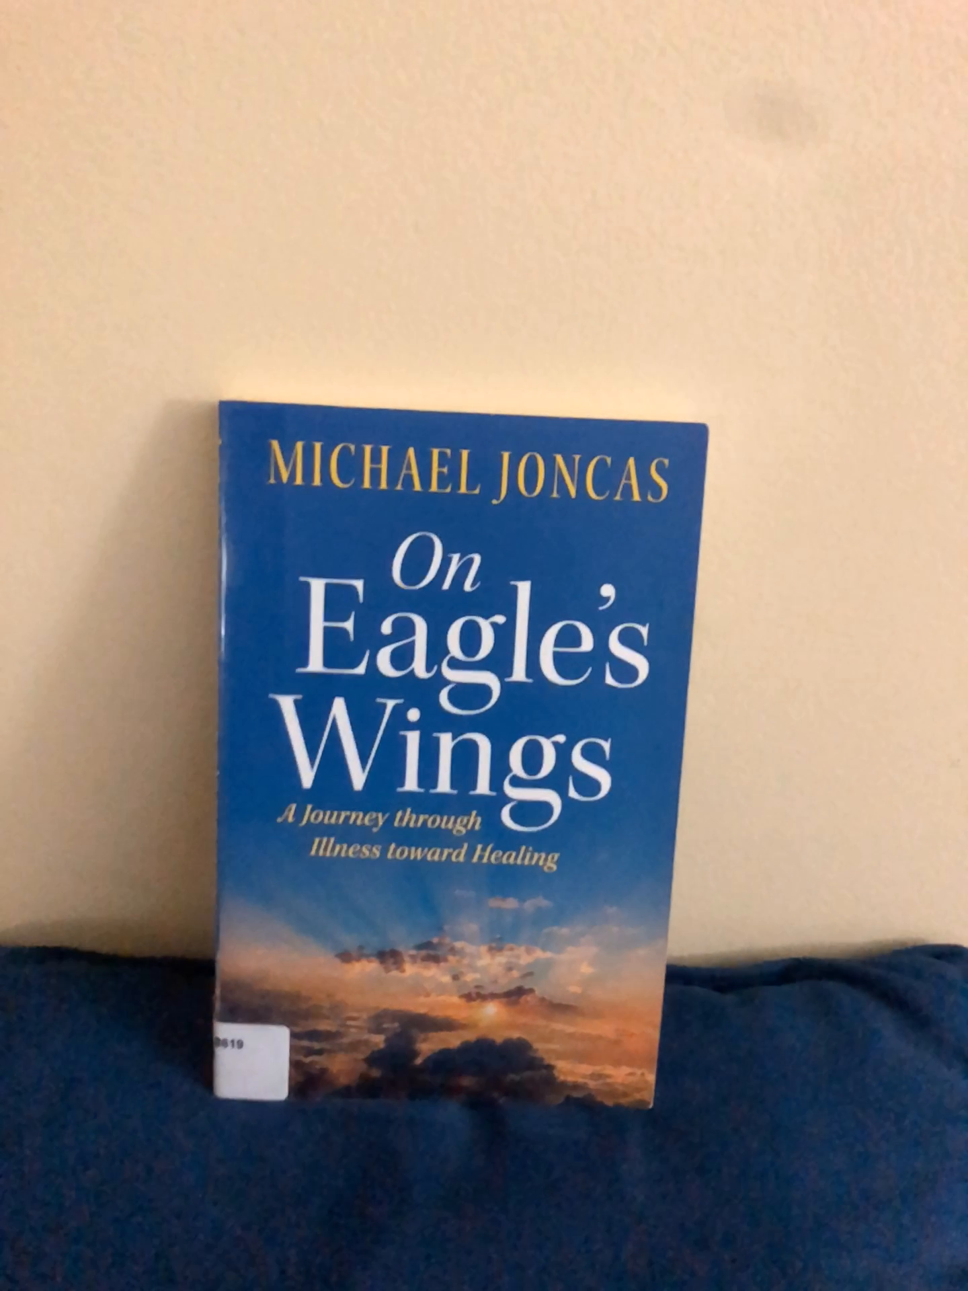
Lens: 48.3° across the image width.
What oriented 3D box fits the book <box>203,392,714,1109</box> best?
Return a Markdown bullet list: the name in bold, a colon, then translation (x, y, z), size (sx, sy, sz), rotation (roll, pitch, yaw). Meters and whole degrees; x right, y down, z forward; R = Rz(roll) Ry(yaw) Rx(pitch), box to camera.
- **book**: translation (-0.011, 0.036, 0.324), size (0.139, 0.210, 0.014), rotation (3, 9, -3)
